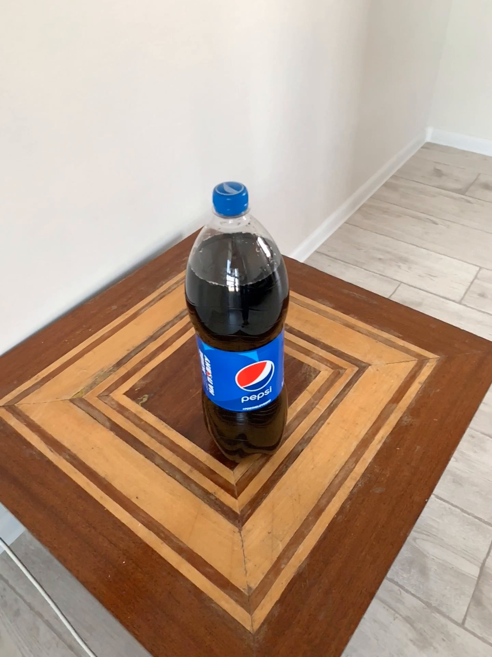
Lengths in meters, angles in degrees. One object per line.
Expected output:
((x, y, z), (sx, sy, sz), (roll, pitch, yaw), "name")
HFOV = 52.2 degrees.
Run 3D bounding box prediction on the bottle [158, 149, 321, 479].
((-0.003, 0.007, 0.522), (0.100, 0.338, 0.100), (-1, 43, 1), "bottle")
